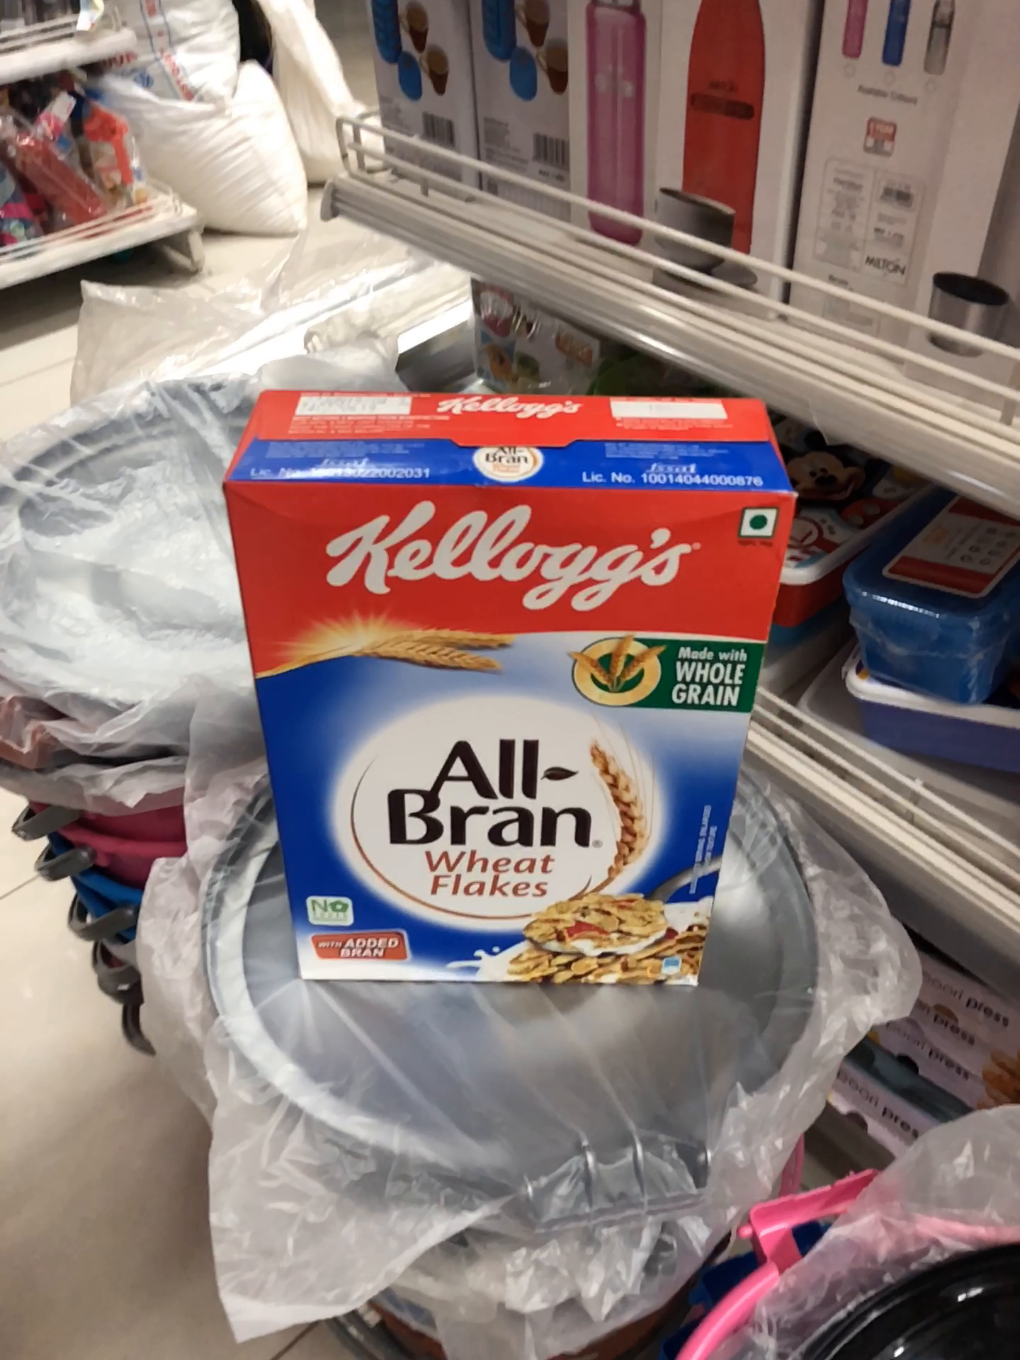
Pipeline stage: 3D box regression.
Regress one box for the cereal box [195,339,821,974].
[{"bbox_3d":[0.000,0.007,0.454,0.190,0.269,0.070,1,40,1],"label":"cereal box"}]
